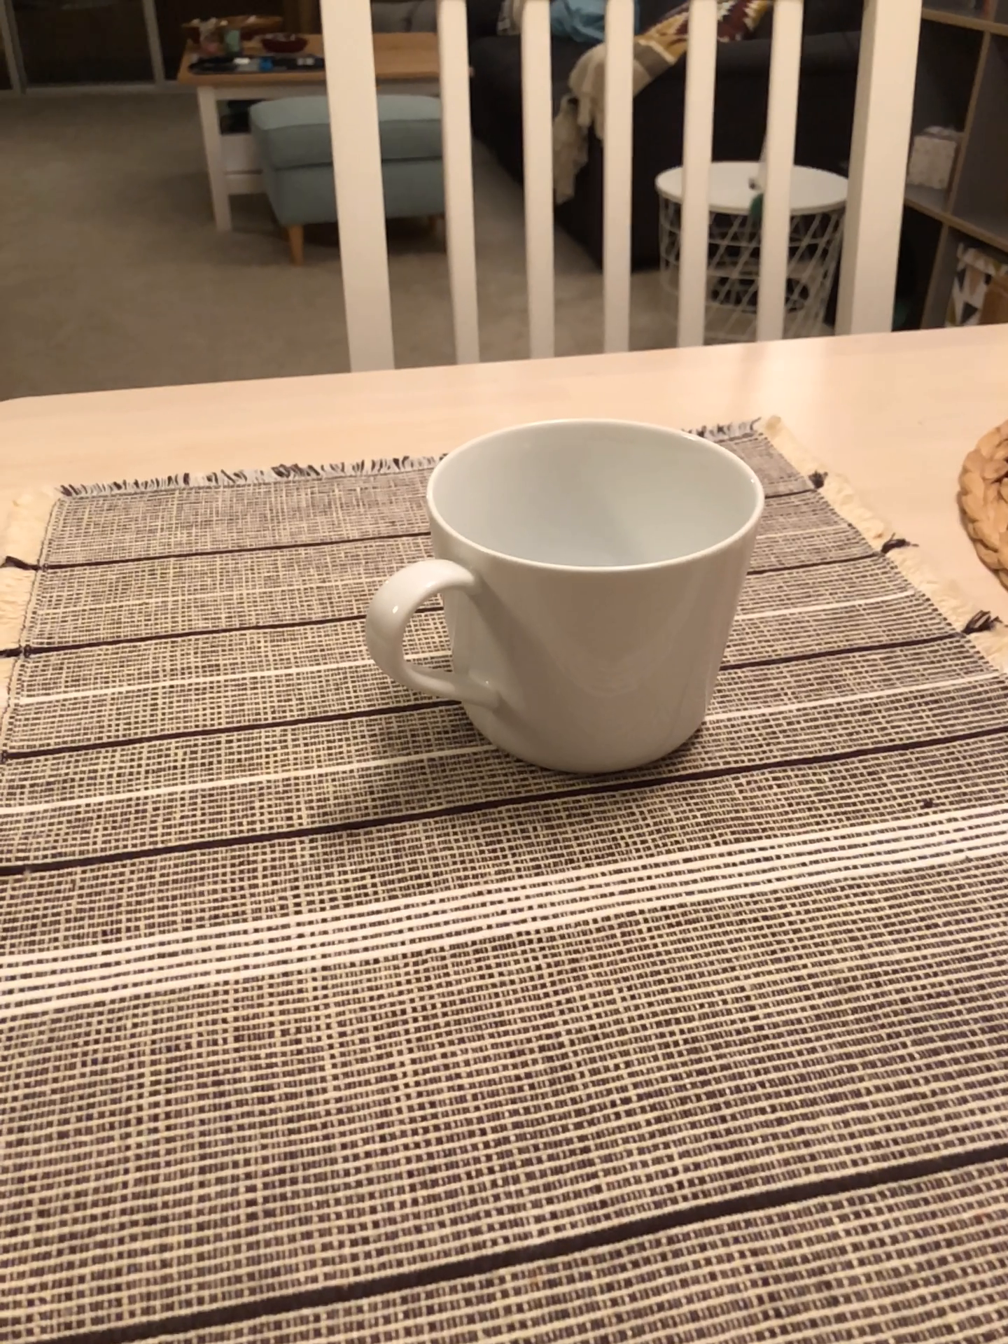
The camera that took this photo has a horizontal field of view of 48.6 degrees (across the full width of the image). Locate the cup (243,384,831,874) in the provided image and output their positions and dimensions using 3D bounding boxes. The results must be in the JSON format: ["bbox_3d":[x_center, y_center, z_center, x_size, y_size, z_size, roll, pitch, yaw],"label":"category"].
[{"bbox_3d":[0.011,-0.024,0.344,0.141,0.070,0.100,-27,44,-33],"label":"cup"}]
